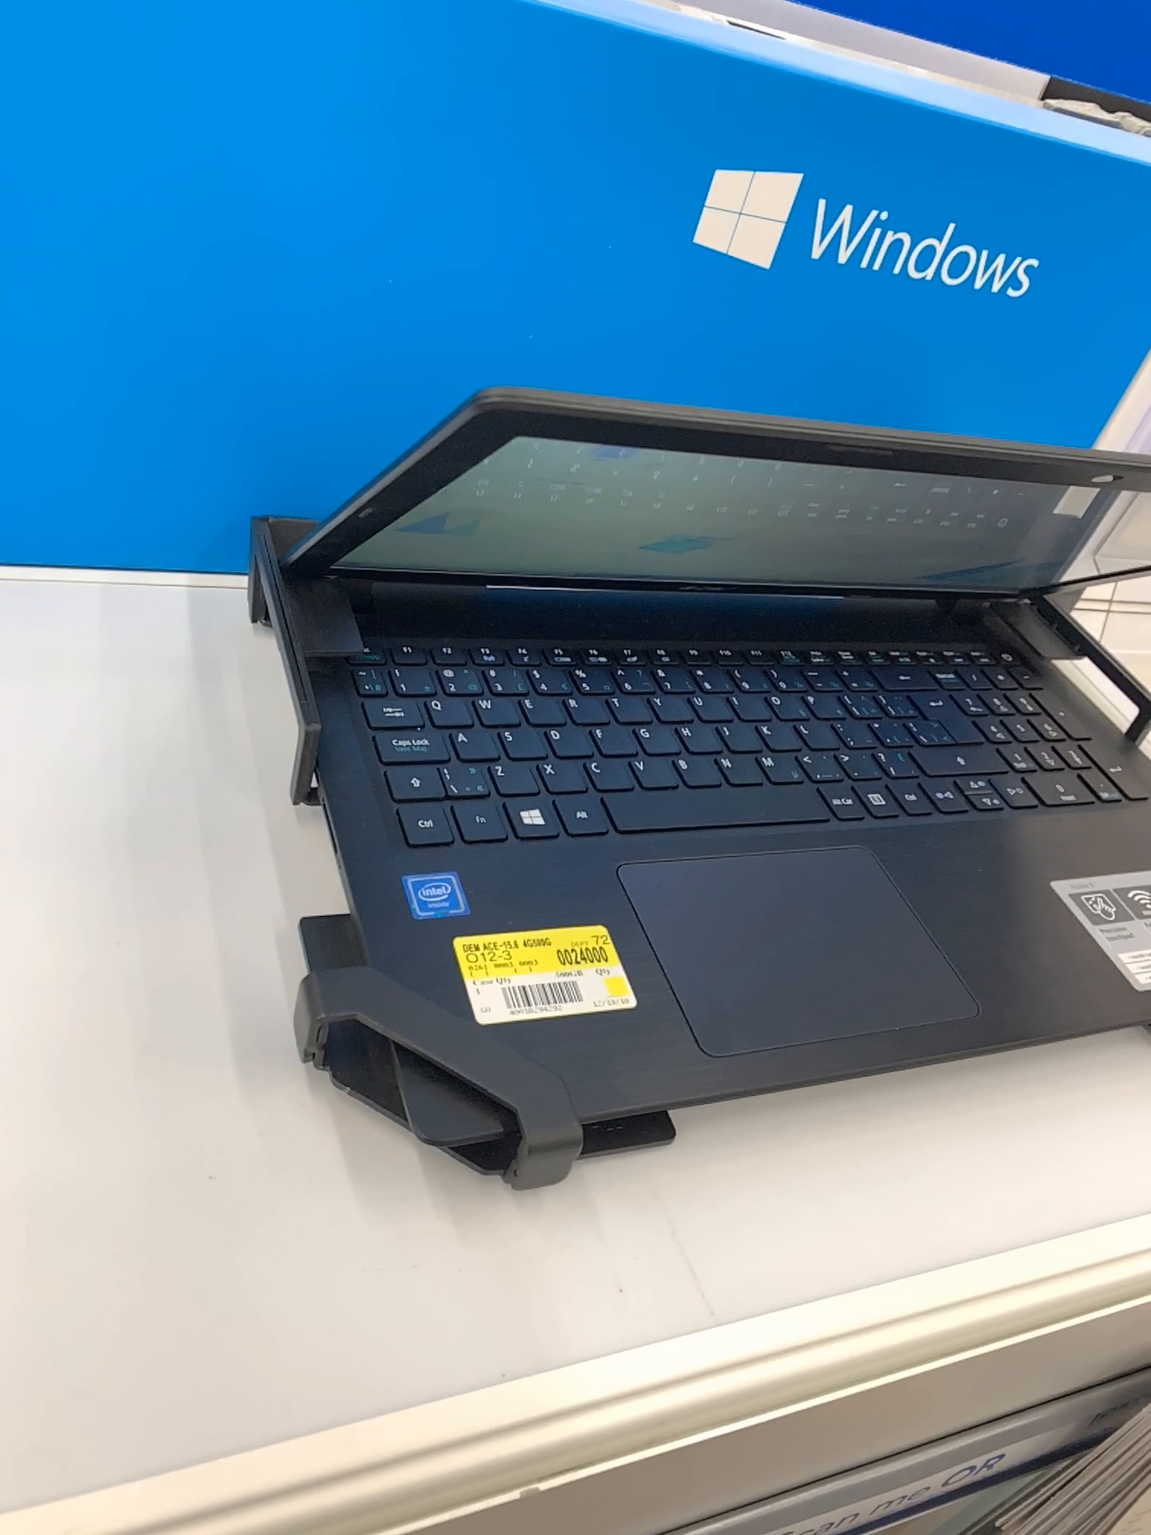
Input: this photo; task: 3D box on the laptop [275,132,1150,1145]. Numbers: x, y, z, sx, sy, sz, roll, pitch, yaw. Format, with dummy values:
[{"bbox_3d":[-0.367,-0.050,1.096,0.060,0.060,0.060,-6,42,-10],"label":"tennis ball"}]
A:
[{"bbox_3d":[0.104,-0.052,0.375,0.344,0.147,0.227,-2,43,-26],"label":"laptop"}]
